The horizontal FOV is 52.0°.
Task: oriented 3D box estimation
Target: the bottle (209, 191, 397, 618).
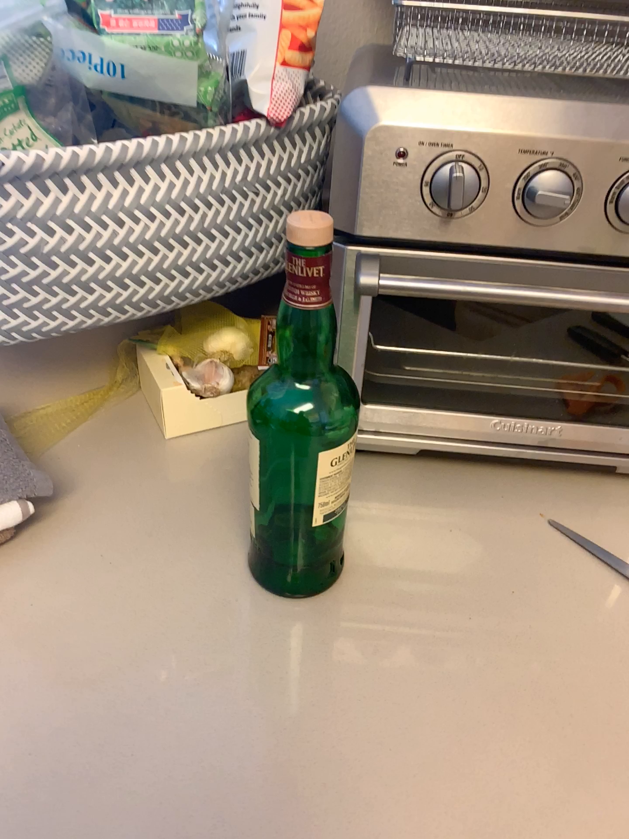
[{"bbox_3d":[-0.010,0.002,0.442,0.080,0.278,0.080,2,35,-2],"label":"bottle"}]
